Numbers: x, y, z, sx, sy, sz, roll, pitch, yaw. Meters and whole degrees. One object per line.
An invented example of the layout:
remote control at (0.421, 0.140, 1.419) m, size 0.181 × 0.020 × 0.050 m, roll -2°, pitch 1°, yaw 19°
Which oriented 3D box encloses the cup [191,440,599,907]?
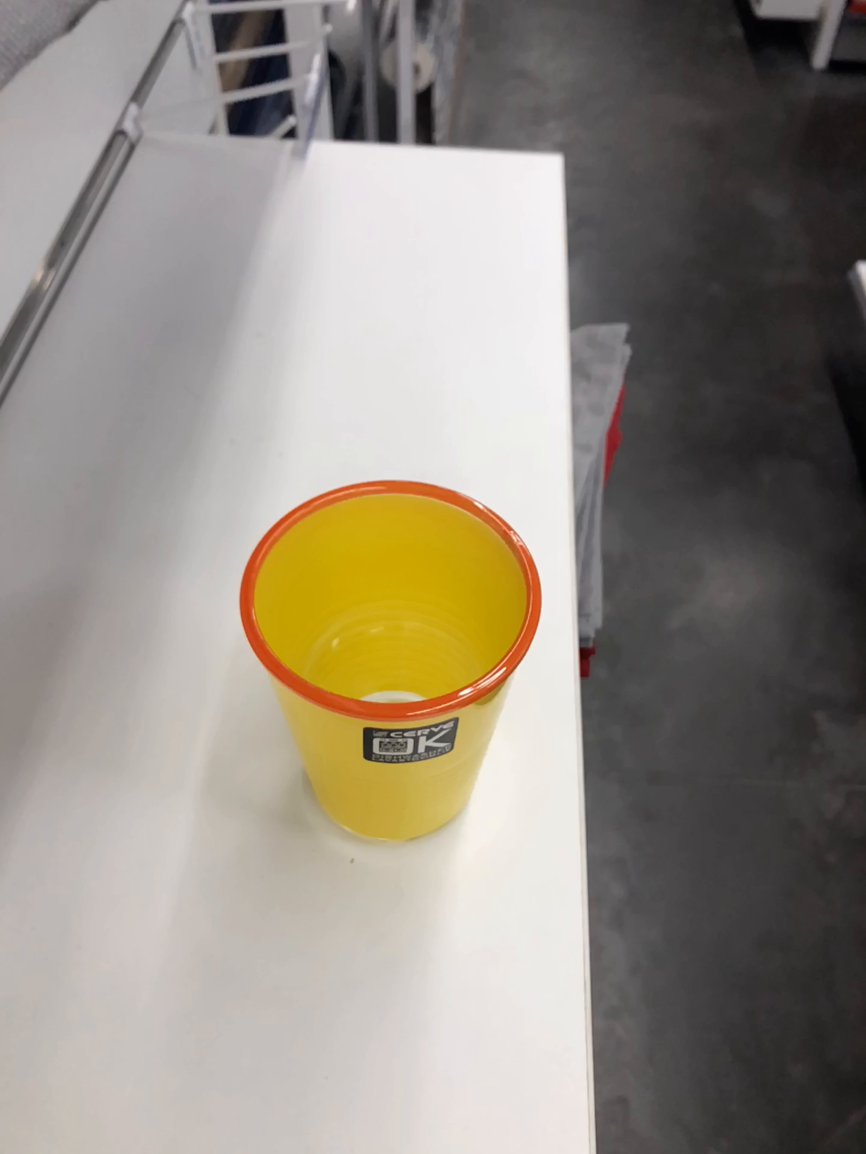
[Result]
cup at (-0.014, 0.030, 0.287) m, size 0.088 × 0.094 × 0.085 m, roll 1°, pitch 51°, yaw -1°
